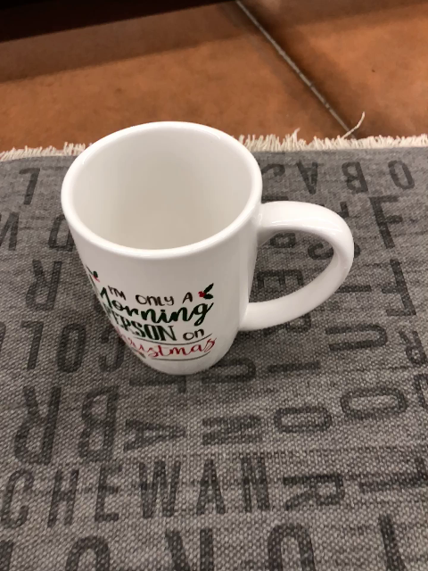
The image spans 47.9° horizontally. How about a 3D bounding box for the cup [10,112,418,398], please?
[{"bbox_3d":[0.003,-0.013,0.232,0.140,0.100,0.090,2,52,4],"label":"cup"}]
